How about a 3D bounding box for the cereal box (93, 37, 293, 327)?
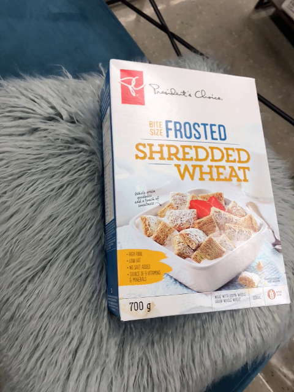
[{"bbox_3d":[0.046,-0.021,0.398,0.200,0.070,0.310,1,73,-21],"label":"cereal box"}]
